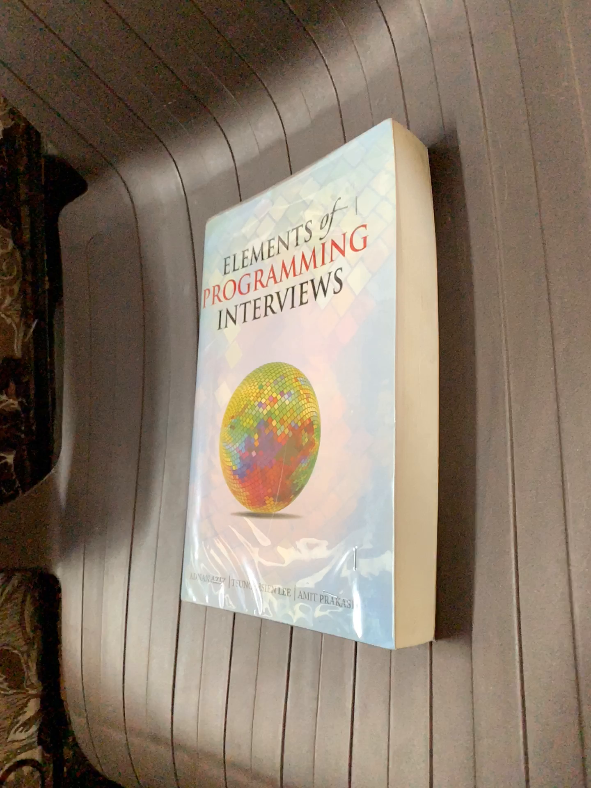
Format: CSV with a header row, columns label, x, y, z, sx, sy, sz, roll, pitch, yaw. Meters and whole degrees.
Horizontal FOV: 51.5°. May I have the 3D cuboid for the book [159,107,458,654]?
label,x,y,z,sx,sy,sz,roll,pitch,yaw
book,0.000,-0.003,0.327,0.161,0.050,0.230,-9,75,45
